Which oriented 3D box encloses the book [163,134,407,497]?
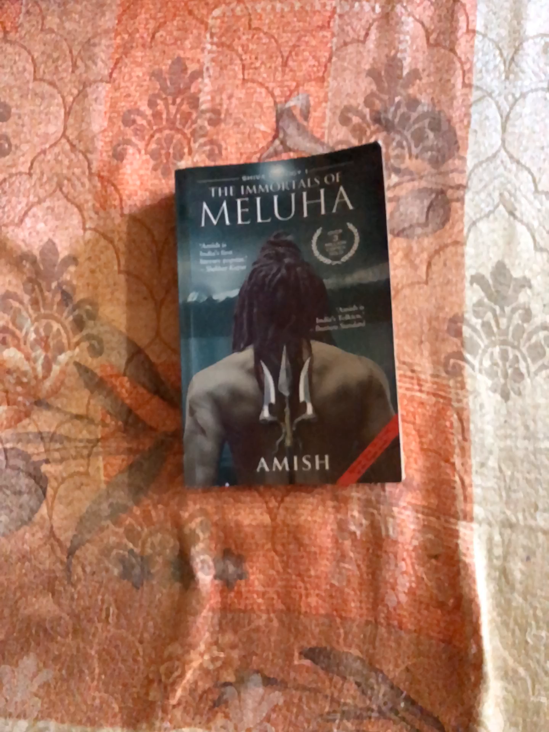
[{"bbox_3d":[0.004,-0.027,0.363,0.130,0.040,0.200,-3,82,6],"label":"book"}]
